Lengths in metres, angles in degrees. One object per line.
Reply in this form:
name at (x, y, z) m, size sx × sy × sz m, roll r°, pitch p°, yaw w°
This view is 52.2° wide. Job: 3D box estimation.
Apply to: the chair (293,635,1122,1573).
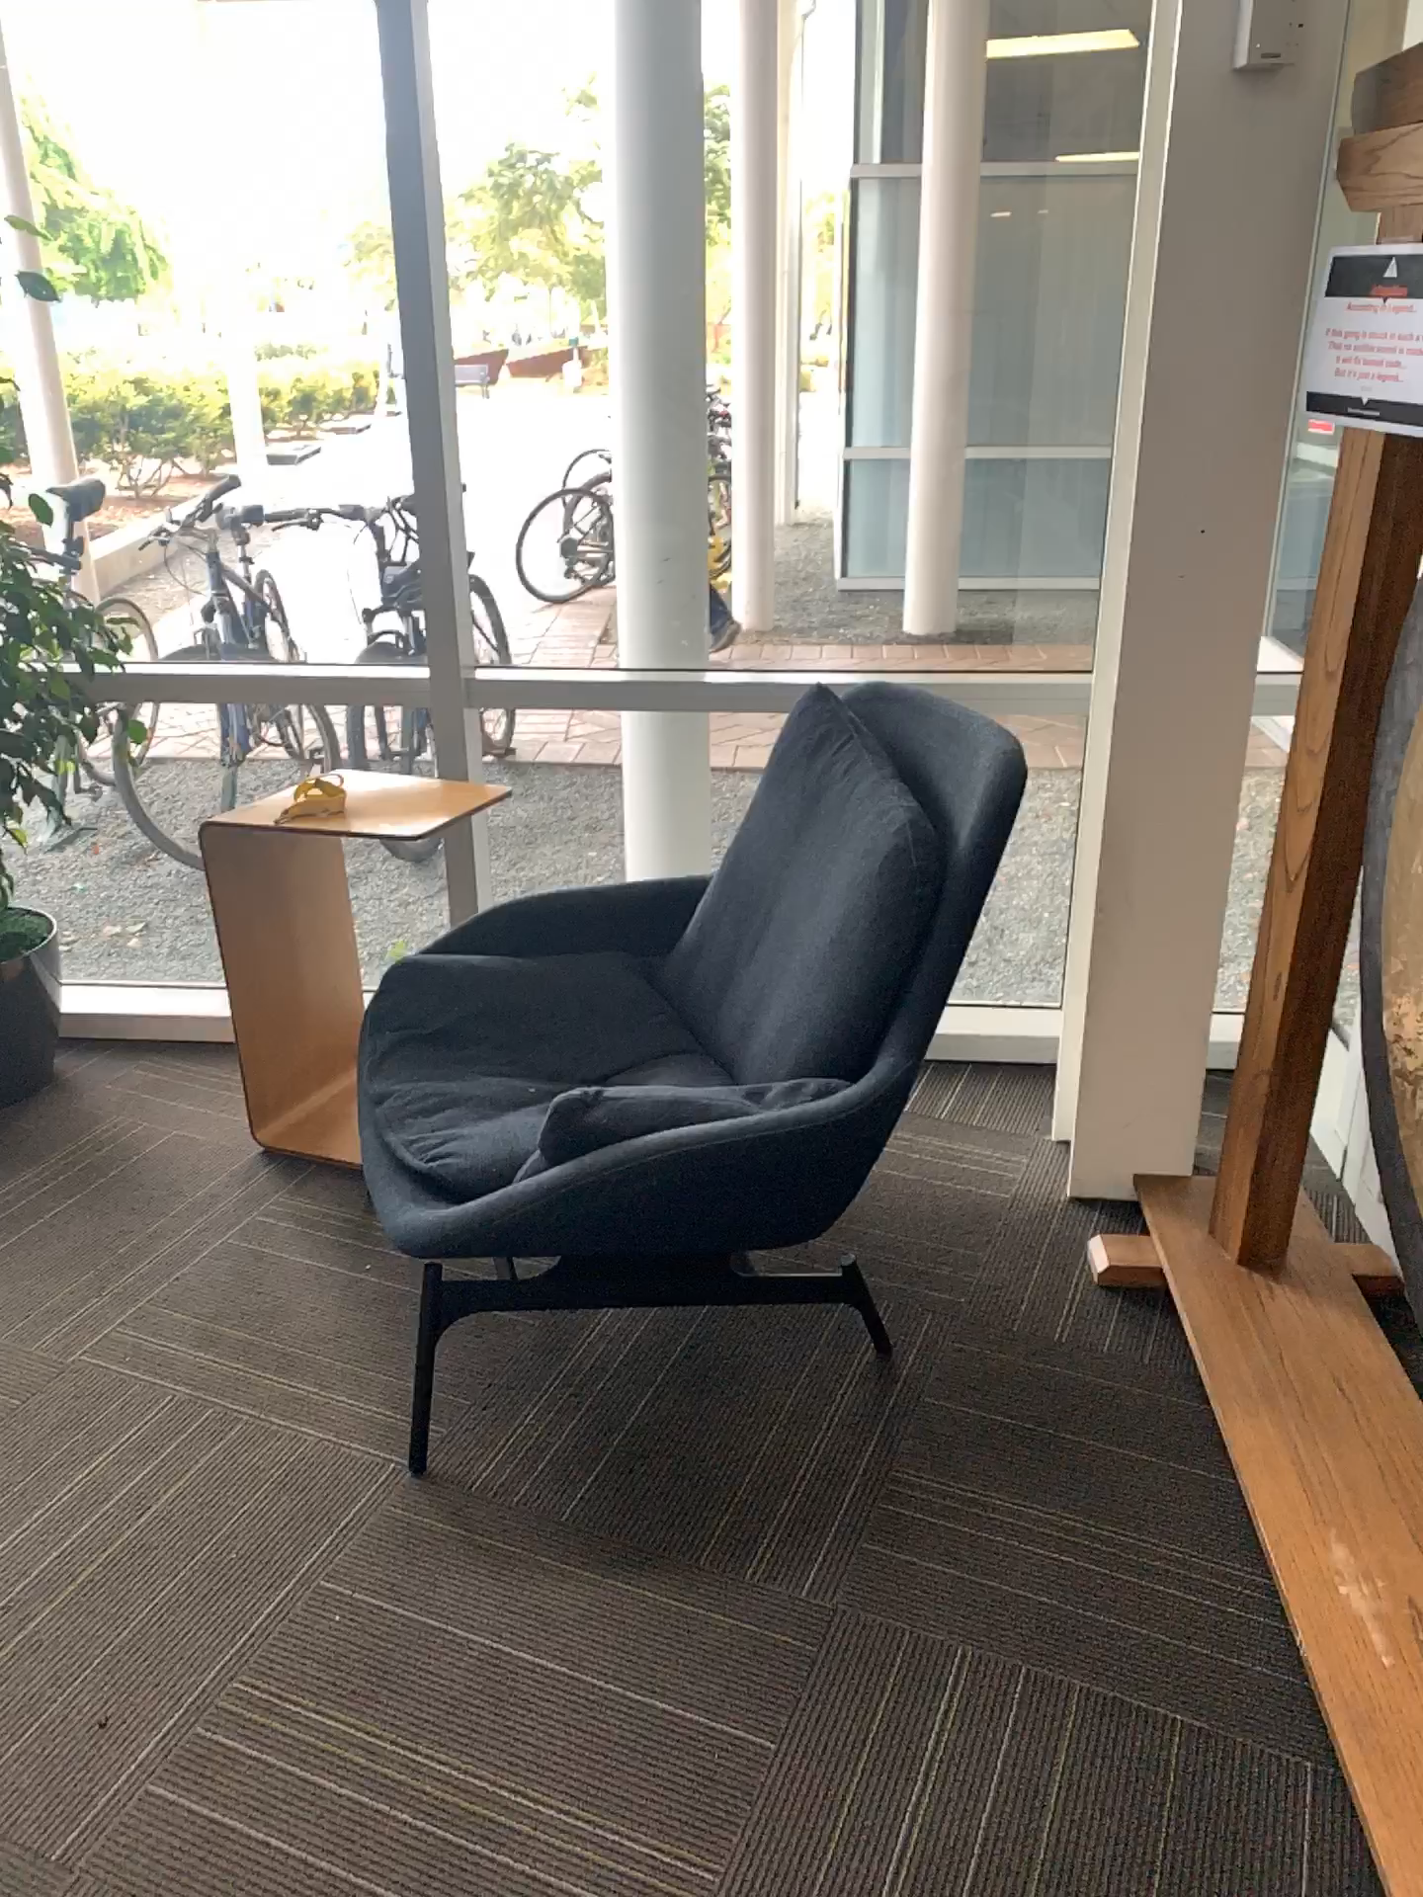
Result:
chair at (-0.079, 0.128, 2.230) m, size 0.940 × 0.995 × 0.905 m, roll -7°, pitch 23°, yaw -16°
